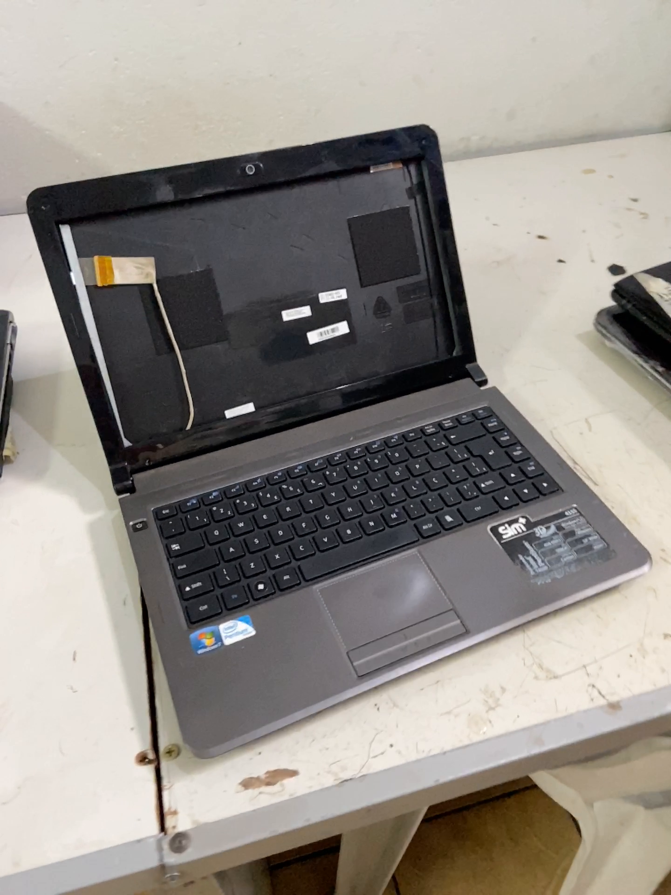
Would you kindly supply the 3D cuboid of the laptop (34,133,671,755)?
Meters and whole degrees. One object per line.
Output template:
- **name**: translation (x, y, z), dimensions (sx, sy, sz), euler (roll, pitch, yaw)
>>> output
- **laptop**: translation (0.003, -0.052, 0.505), dimensions (0.343, 0.174, 0.366), euler (-17, 47, -16)
